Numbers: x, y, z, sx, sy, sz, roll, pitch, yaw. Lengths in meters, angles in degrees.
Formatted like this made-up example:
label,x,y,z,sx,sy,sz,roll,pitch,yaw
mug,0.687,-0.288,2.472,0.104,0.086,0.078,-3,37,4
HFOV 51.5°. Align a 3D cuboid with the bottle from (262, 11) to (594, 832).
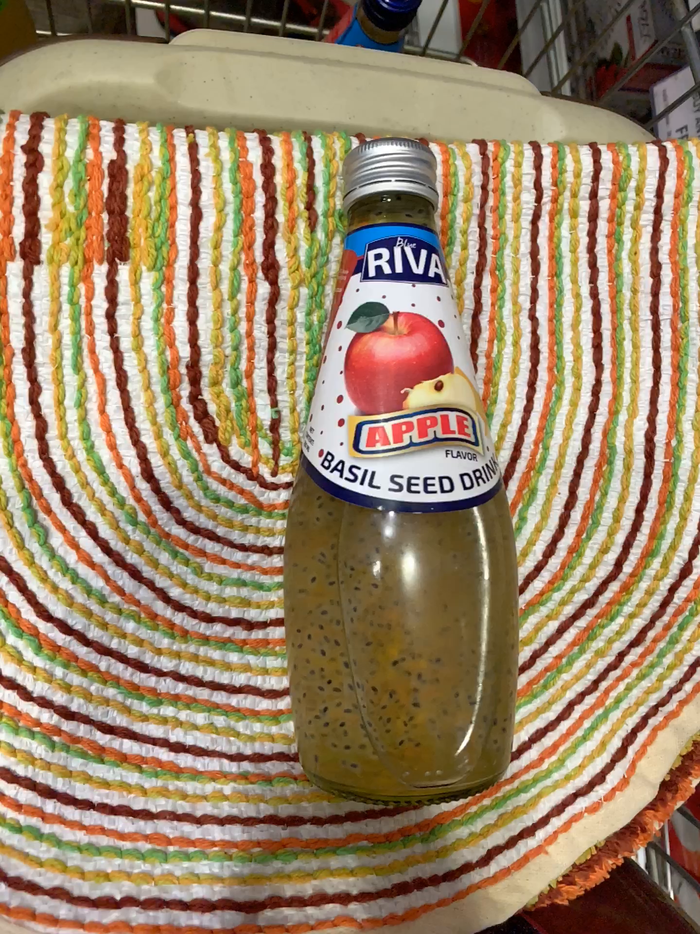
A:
label,x,y,z,sx,sy,sz,roll,pitch,yaw
bottle,0.015,-0.016,0.205,0.070,0.050,0.200,-1,81,-12
